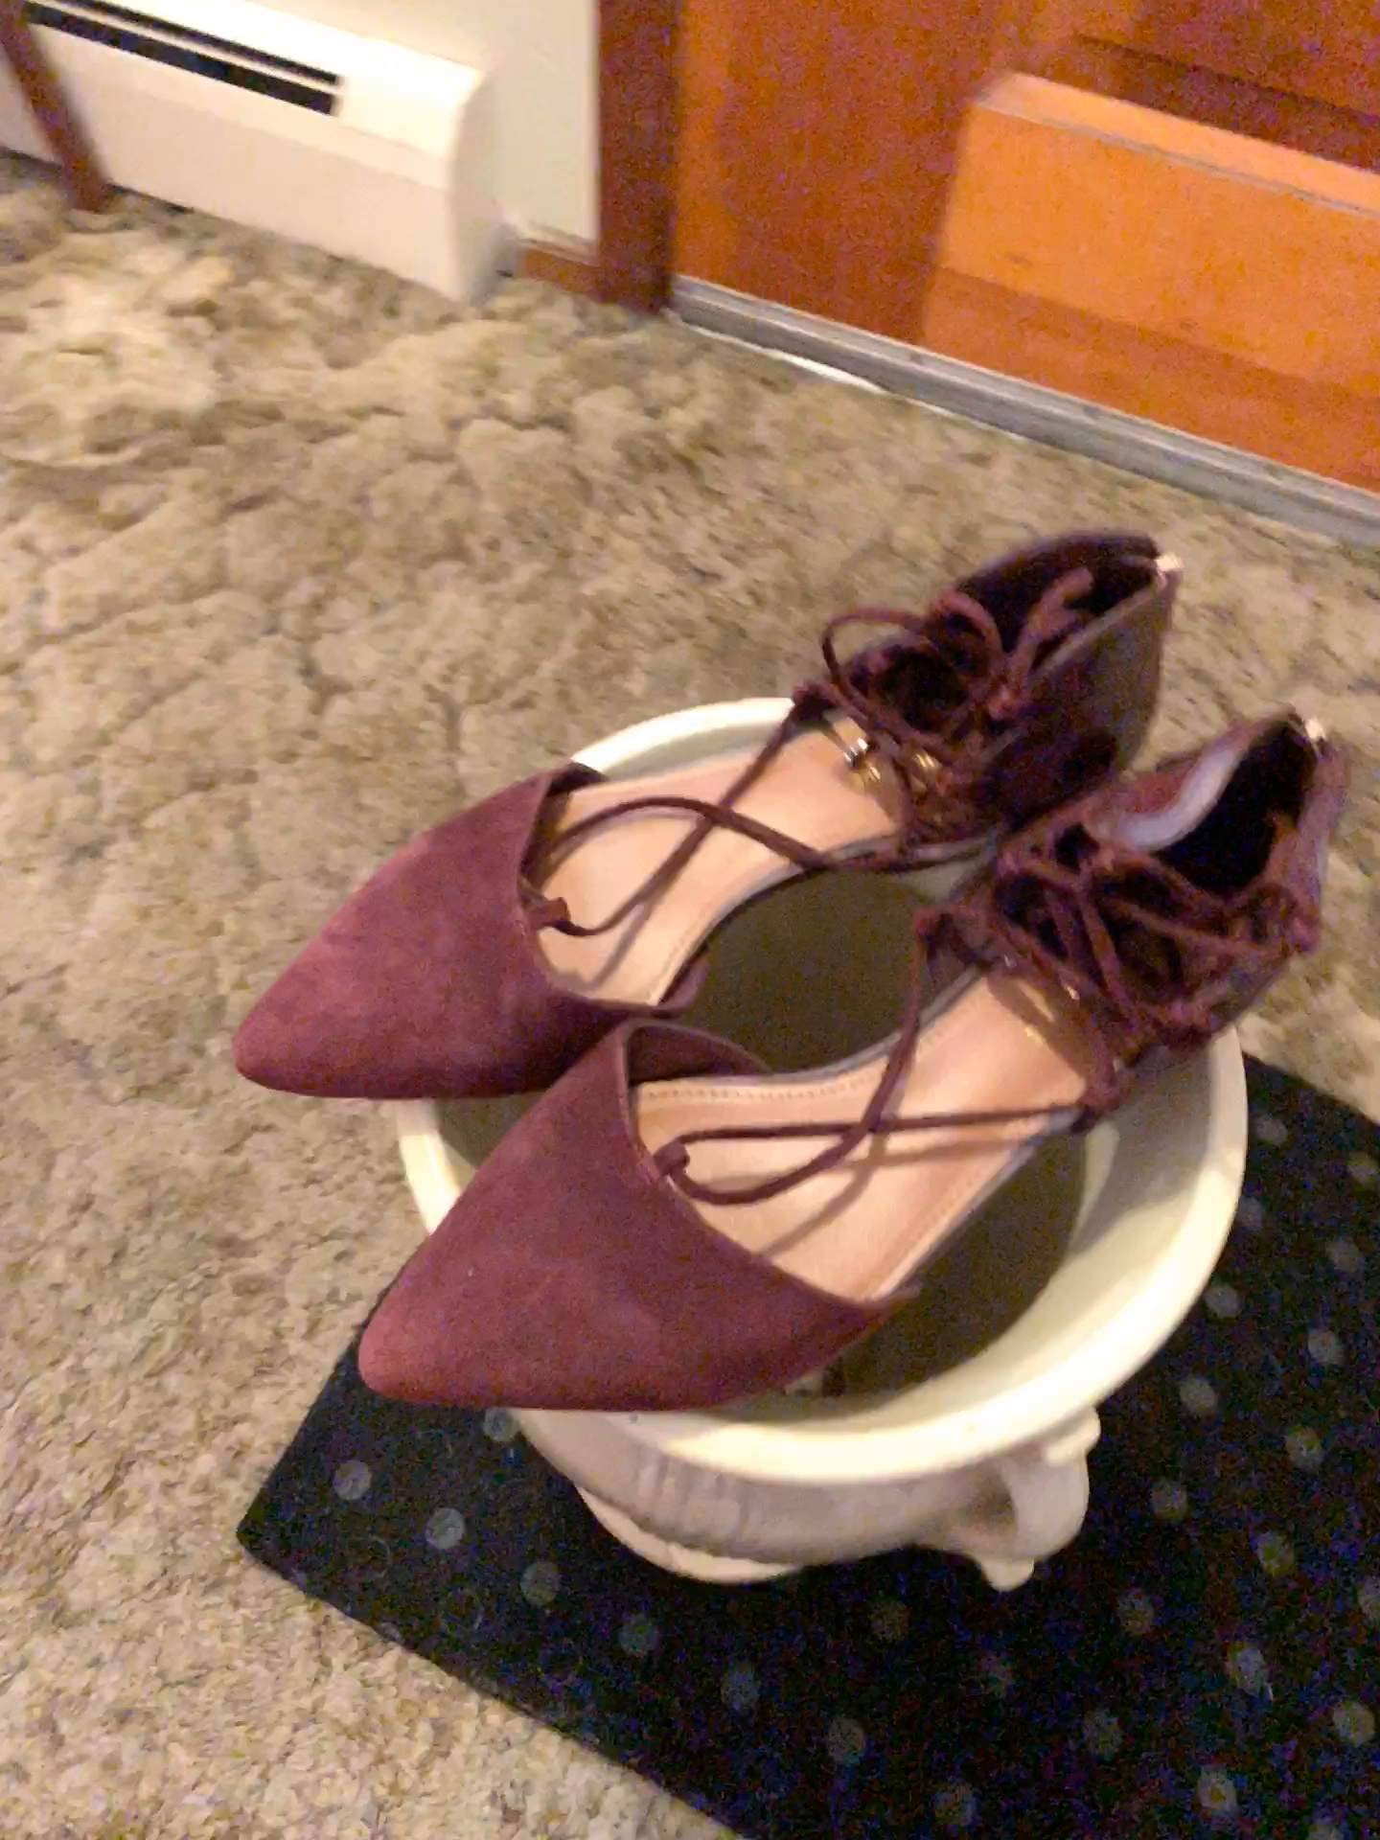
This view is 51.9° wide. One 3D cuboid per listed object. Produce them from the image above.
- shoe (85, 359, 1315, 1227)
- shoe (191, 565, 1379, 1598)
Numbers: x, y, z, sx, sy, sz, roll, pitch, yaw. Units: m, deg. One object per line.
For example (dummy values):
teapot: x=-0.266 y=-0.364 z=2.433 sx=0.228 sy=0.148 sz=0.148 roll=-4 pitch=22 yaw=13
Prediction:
shoe: x=0.007 y=-0.037 z=0.356 sx=0.261 sy=0.099 sz=0.093 roll=-23 pitch=62 yaw=-17
shoe: x=0.042 y=0.029 z=0.320 sx=0.261 sy=0.099 sz=0.093 roll=-26 pitch=63 yaw=-18
